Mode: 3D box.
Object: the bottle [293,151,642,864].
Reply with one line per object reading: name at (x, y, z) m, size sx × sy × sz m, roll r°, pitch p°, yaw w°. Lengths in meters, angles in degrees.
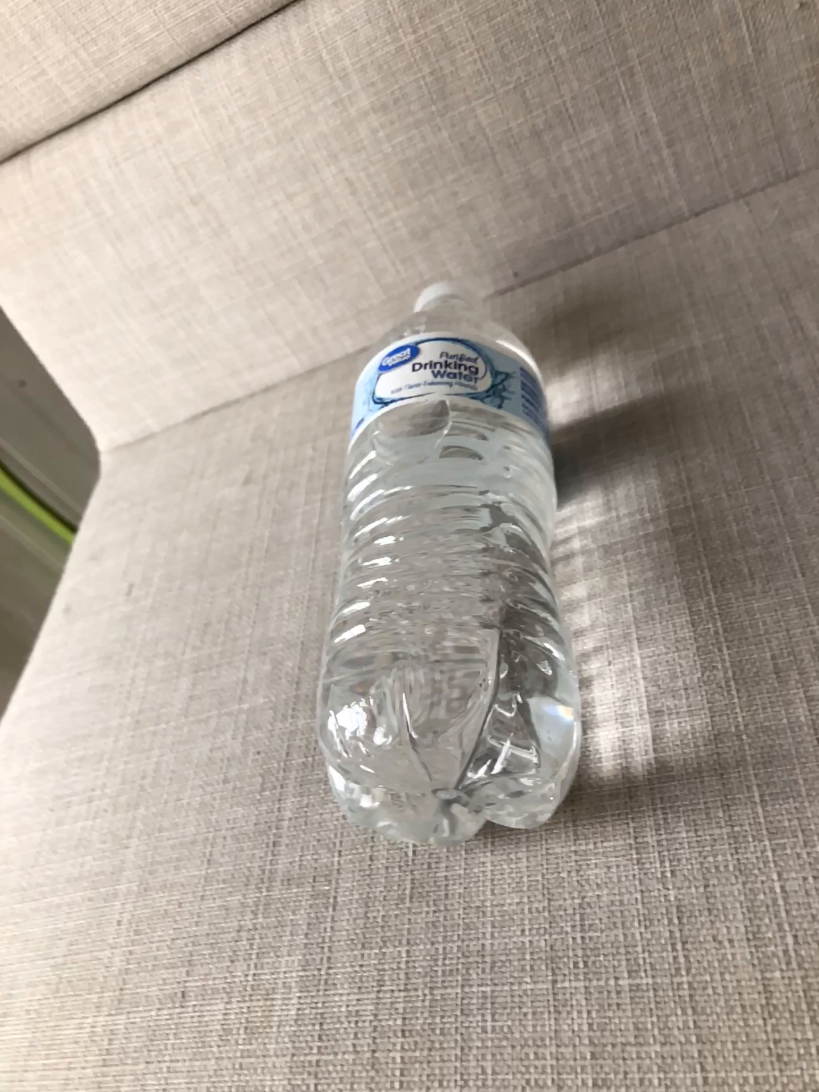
bottle at (0.011, -0.031, 0.290) m, size 0.070 × 0.079 × 0.232 m, roll 4°, pitch 47°, yaw -3°
